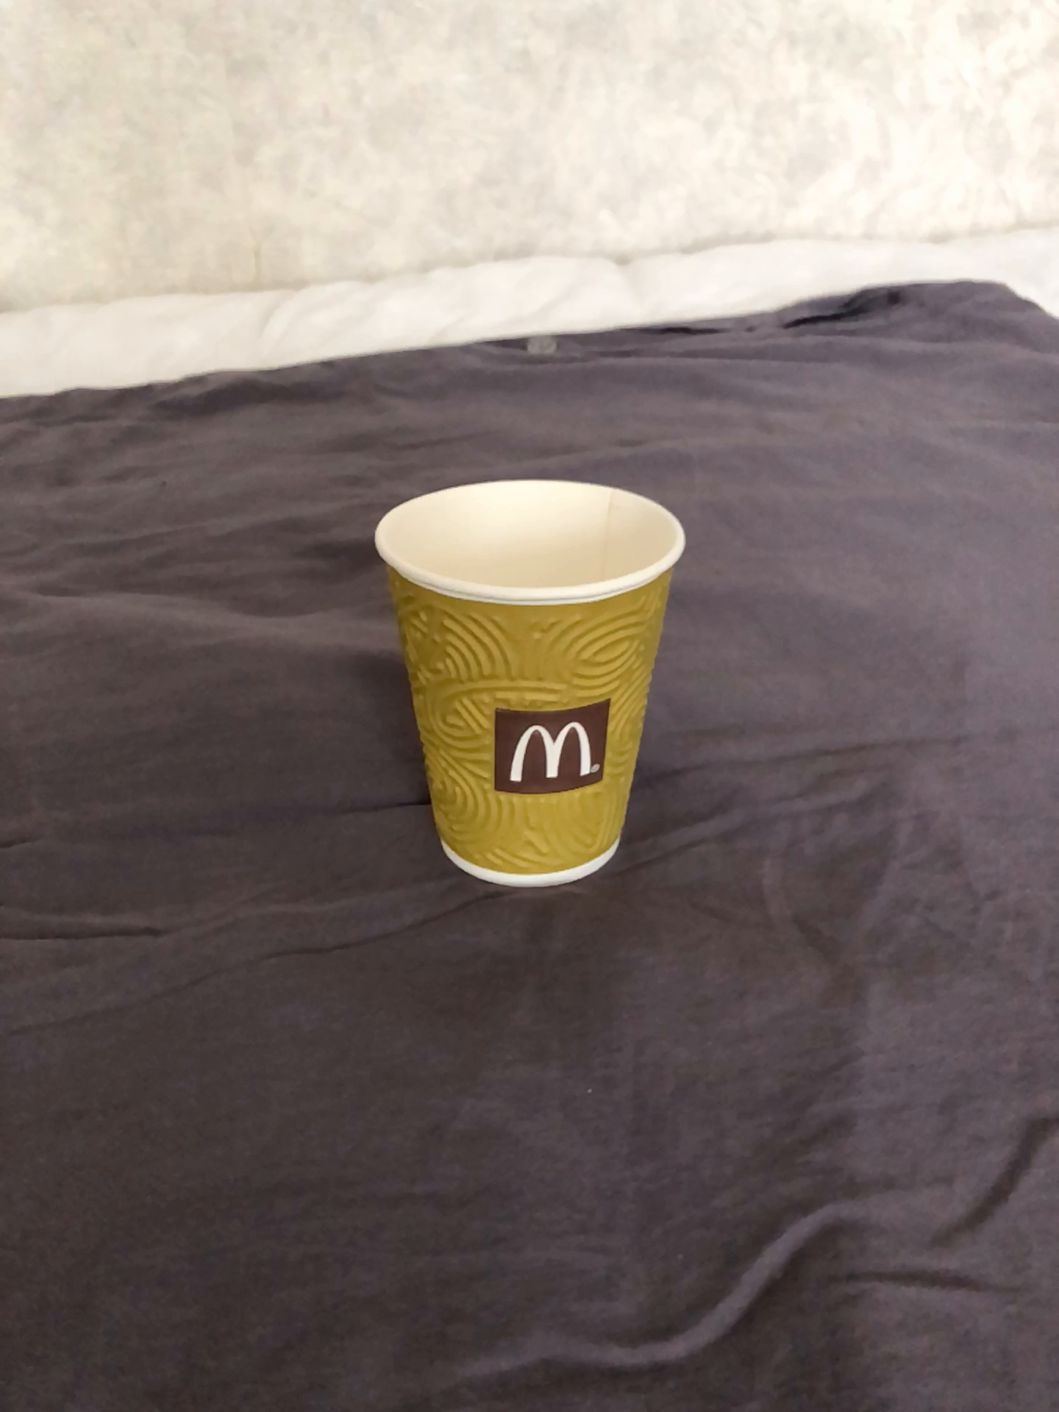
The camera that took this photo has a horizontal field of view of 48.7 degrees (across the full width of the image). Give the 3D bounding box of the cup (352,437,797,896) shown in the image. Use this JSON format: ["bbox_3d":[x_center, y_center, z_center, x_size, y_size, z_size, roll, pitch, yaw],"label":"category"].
[{"bbox_3d":[0.010,-0.016,0.349,0.107,0.101,0.099,0,28,0],"label":"cup"}]
